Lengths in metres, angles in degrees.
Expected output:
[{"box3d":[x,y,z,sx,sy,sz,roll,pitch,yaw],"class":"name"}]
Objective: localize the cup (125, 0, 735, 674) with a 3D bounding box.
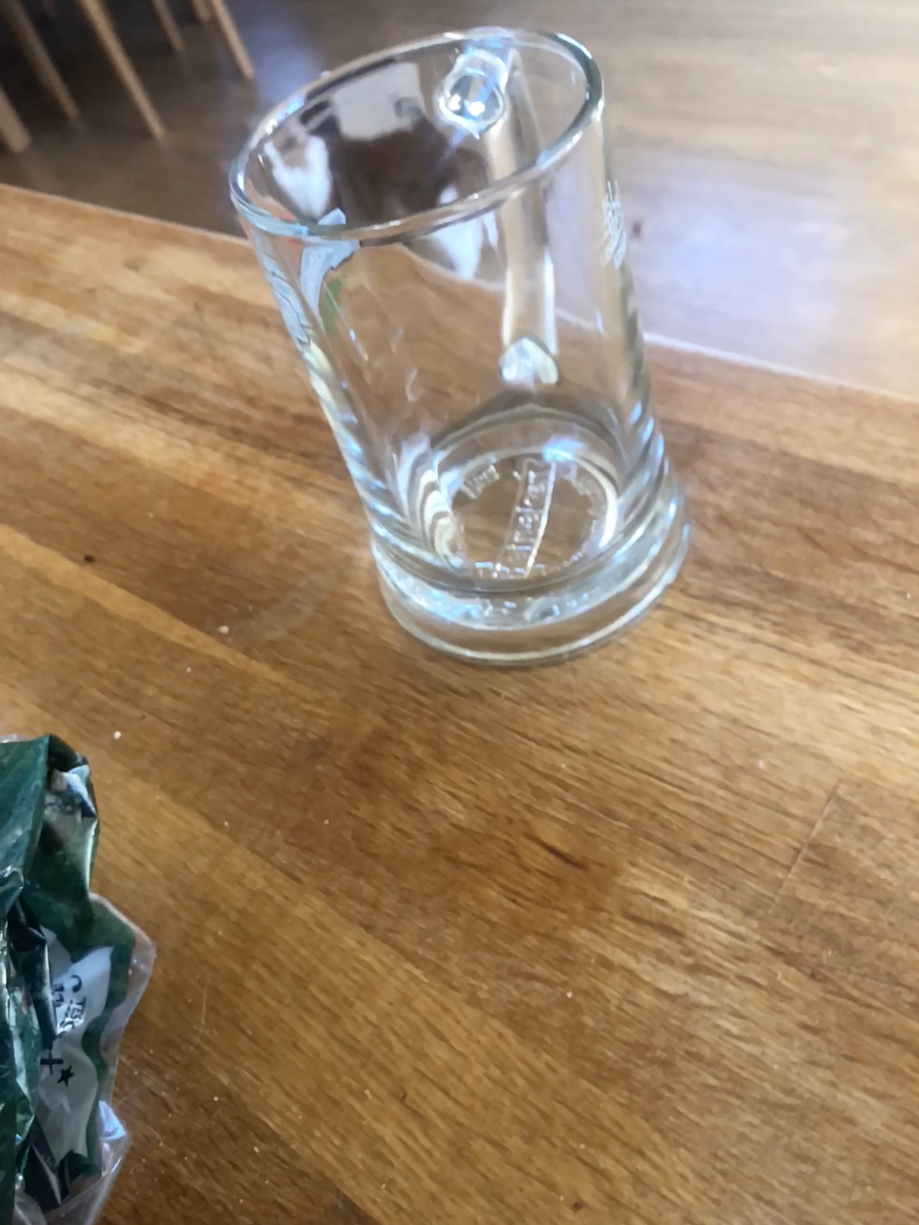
[{"box3d":[0.011,-0.067,0.239,0.091,0.110,0.115,3,54,19],"class":"cup"}]
